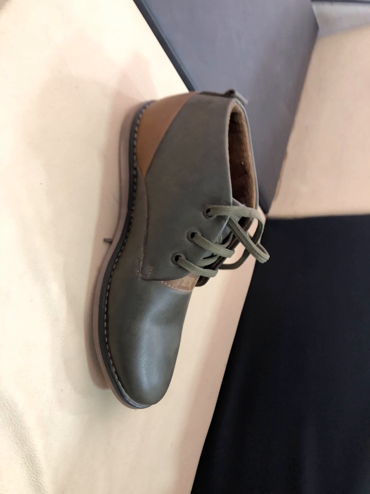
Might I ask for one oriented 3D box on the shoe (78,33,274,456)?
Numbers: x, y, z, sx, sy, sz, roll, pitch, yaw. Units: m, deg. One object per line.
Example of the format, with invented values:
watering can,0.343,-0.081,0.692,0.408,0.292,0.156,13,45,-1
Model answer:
shoe,-0.003,-0.004,0.331,0.081,0.099,0.280,14,80,-55
